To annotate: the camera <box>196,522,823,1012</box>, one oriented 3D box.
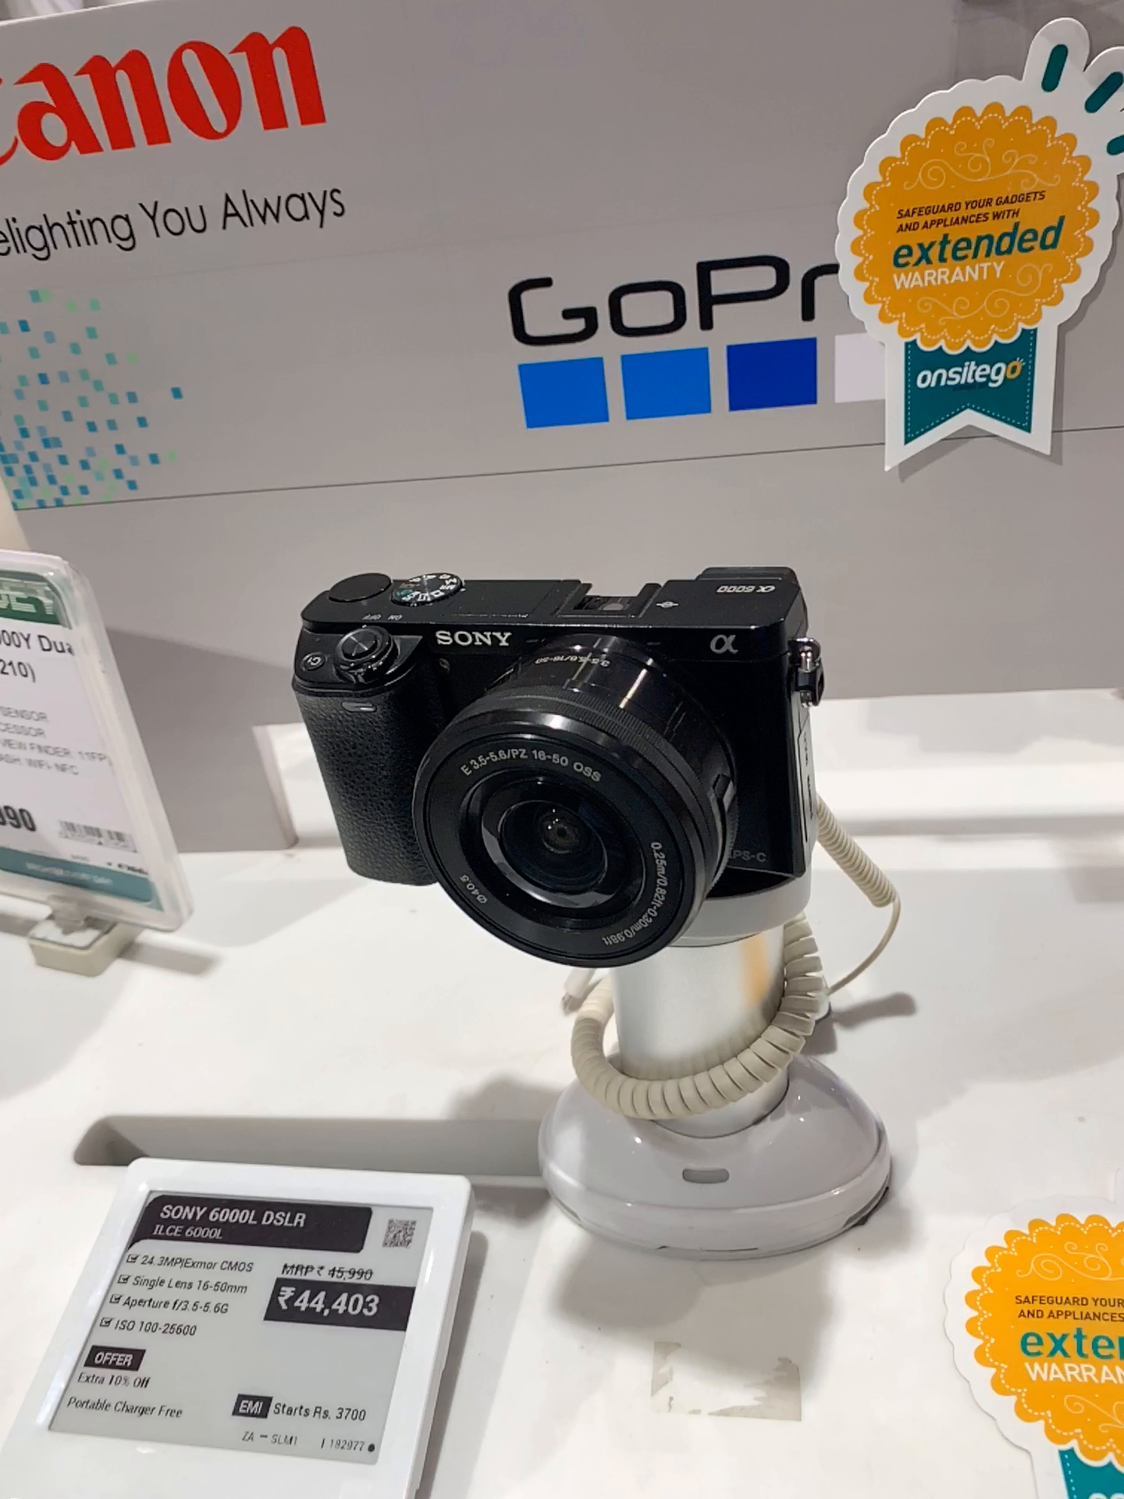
[{"bbox_3d":[-0.005,0.001,0.262,0.120,0.090,0.050,3,33,18],"label":"camera"}]
